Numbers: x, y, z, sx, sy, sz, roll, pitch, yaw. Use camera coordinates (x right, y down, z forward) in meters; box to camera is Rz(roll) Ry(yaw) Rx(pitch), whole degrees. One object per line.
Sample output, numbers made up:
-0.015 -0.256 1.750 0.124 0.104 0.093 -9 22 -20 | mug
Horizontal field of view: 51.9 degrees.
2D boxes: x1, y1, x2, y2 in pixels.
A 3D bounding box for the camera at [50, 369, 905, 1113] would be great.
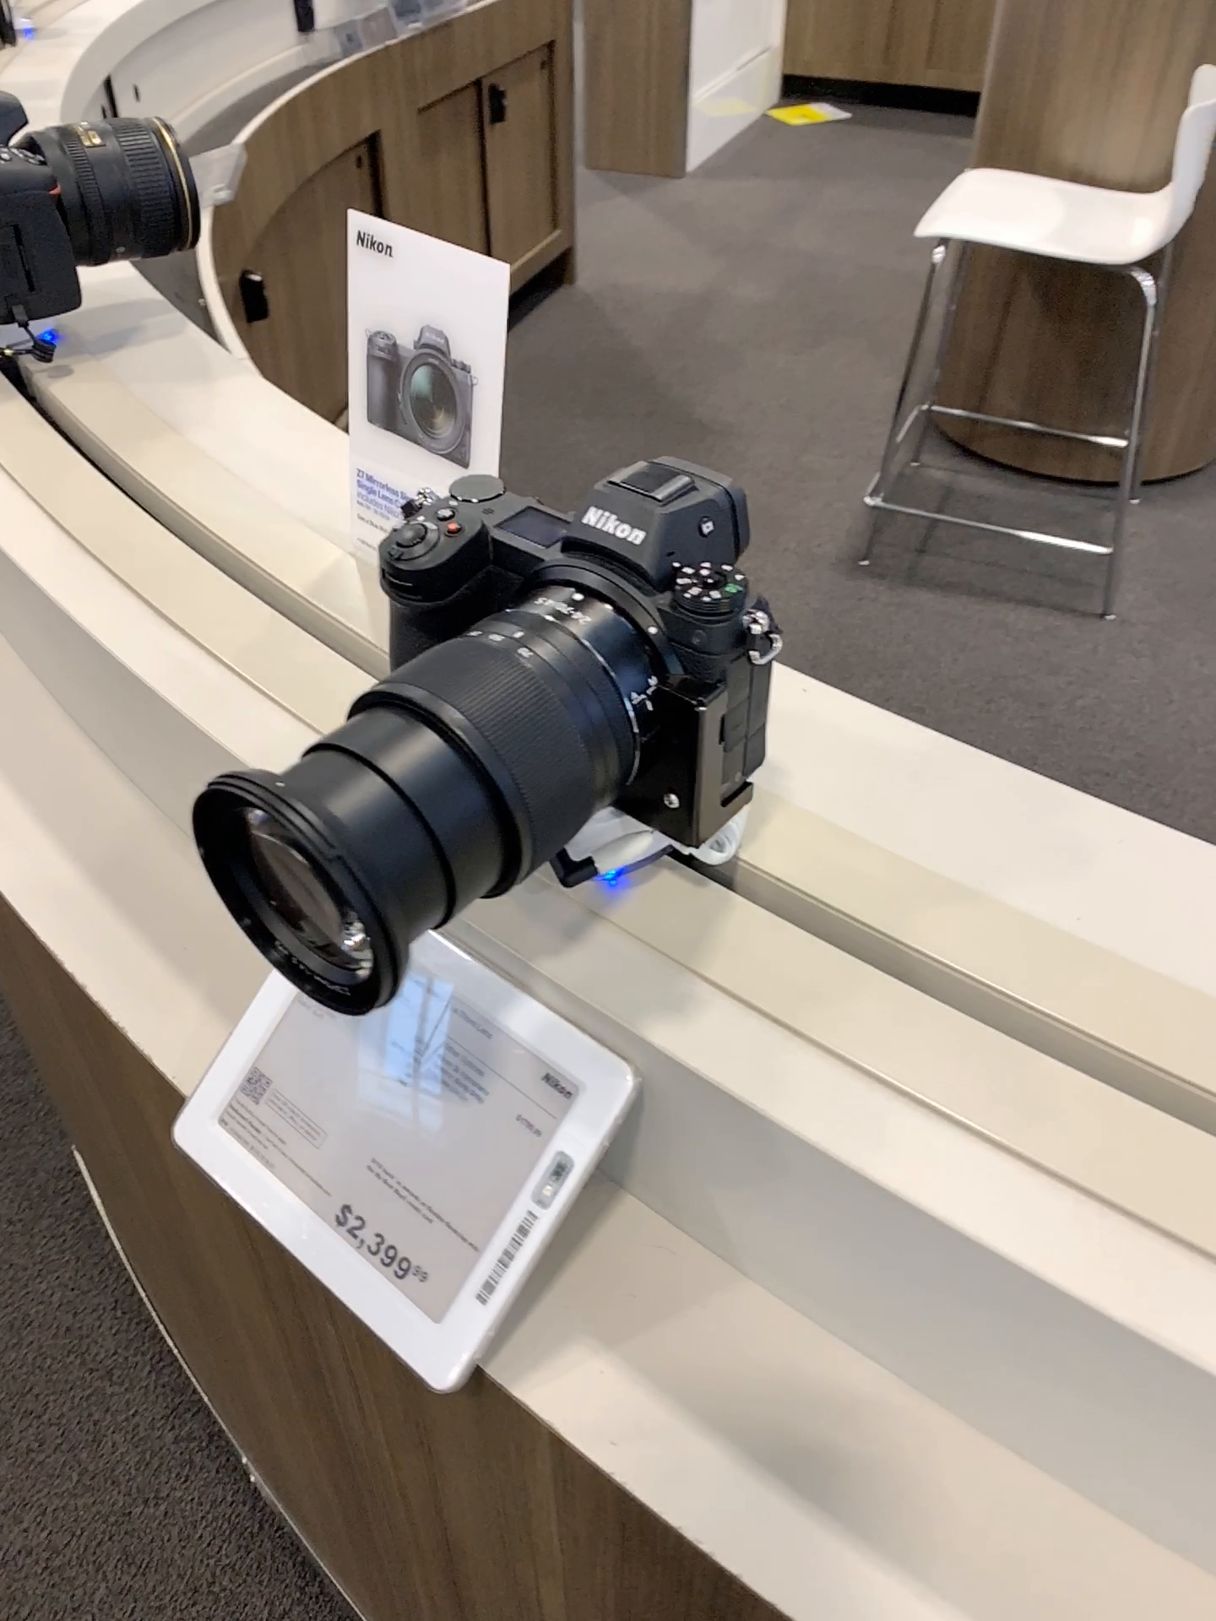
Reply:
-0.028 -0.040 0.394 0.141 0.099 0.210 28 49 28 | camera
